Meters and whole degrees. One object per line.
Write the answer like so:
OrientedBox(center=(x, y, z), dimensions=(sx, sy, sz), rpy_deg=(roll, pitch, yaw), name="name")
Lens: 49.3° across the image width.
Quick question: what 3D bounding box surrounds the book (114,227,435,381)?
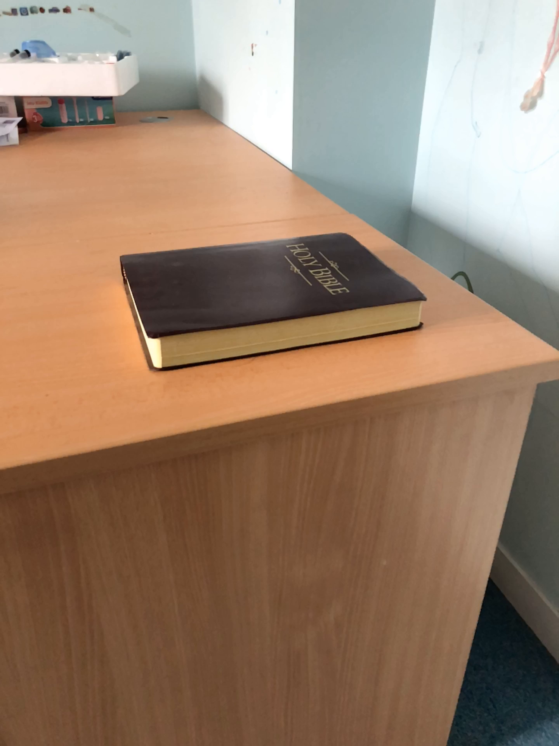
OrientedBox(center=(-0.019, -0.088, 0.644), dimensions=(0.281, 0.040, 0.224), rpy_deg=(-10, 32, -15), name="book")
